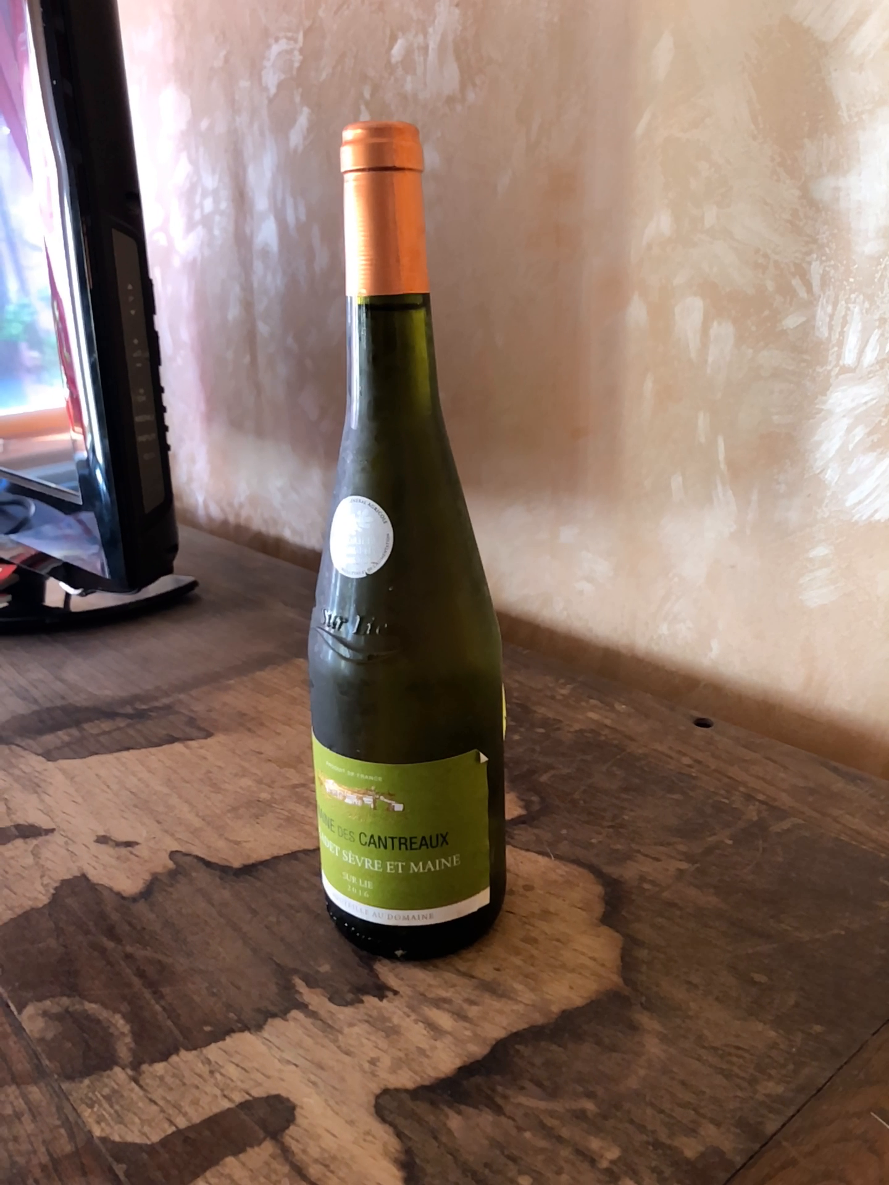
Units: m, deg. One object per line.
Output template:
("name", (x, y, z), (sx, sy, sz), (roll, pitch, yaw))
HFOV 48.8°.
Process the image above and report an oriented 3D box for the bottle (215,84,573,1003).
("bottle", (-0.015, -0.013, 0.376), (0.090, 0.309, 0.080), (15, 23, 41))
